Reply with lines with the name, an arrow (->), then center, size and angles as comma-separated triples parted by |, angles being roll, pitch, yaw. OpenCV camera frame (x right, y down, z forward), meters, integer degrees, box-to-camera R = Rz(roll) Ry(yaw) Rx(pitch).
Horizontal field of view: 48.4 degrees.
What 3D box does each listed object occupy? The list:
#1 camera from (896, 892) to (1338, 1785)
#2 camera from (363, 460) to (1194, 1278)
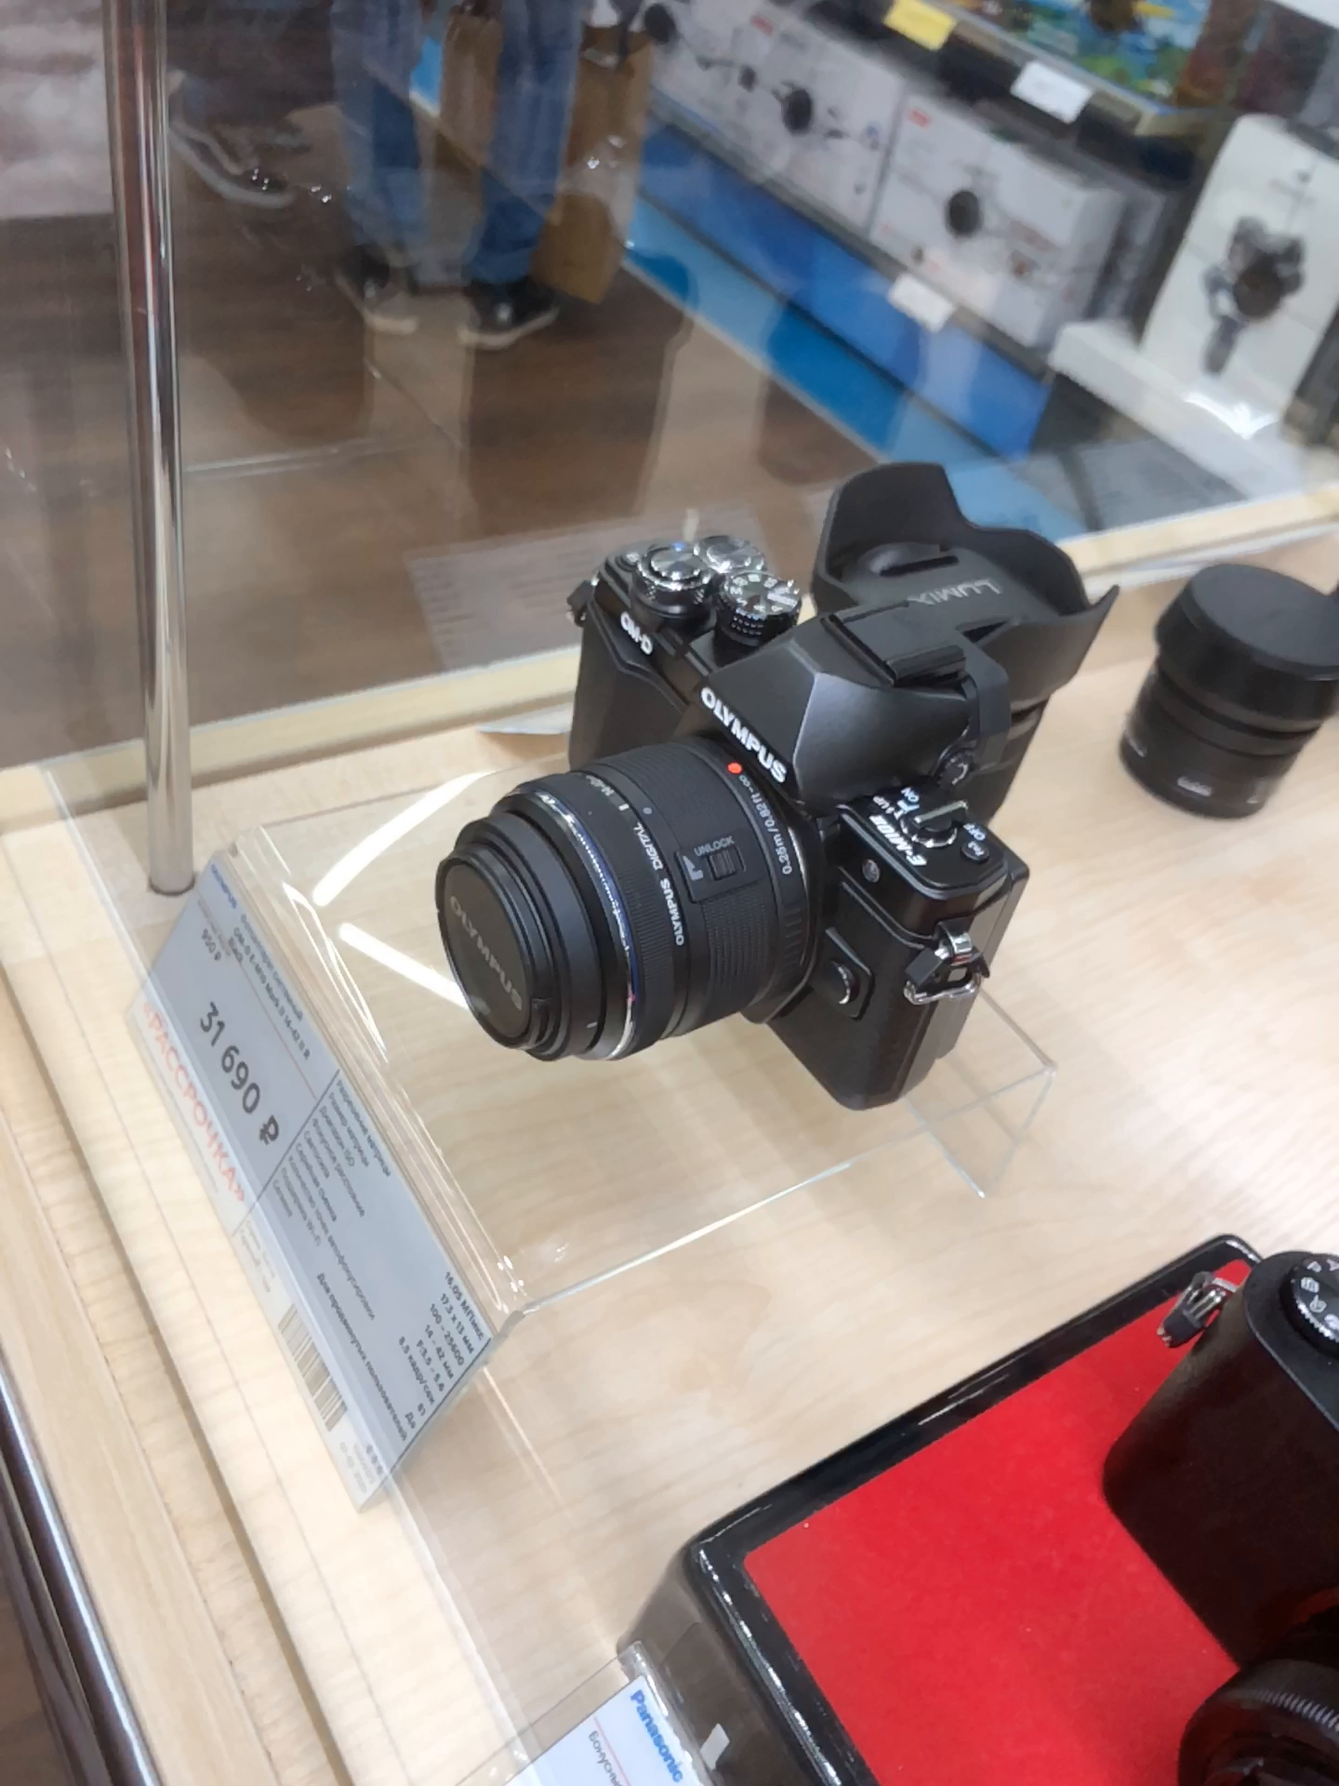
camera -> 0.107, 0.087, 0.185 | 0.072, 0.109, 0.118 | -17, 50, -30
camera -> 0.012, -0.013, 0.300 | 0.101, 0.088, 0.118 | -17, 50, -30
